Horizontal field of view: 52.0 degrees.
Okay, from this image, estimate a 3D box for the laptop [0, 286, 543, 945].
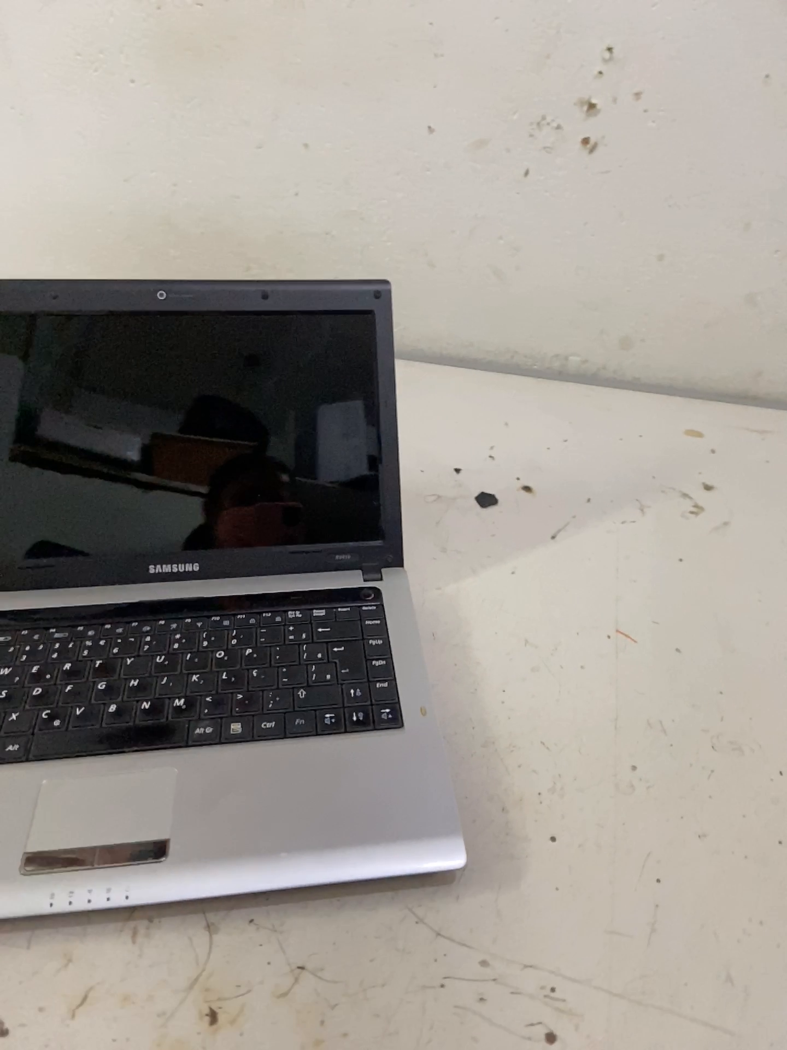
[{"bbox_3d":[-0.135,0.006,0.481,0.334,0.172,0.364,-2,36,-7],"label":"laptop"}]
